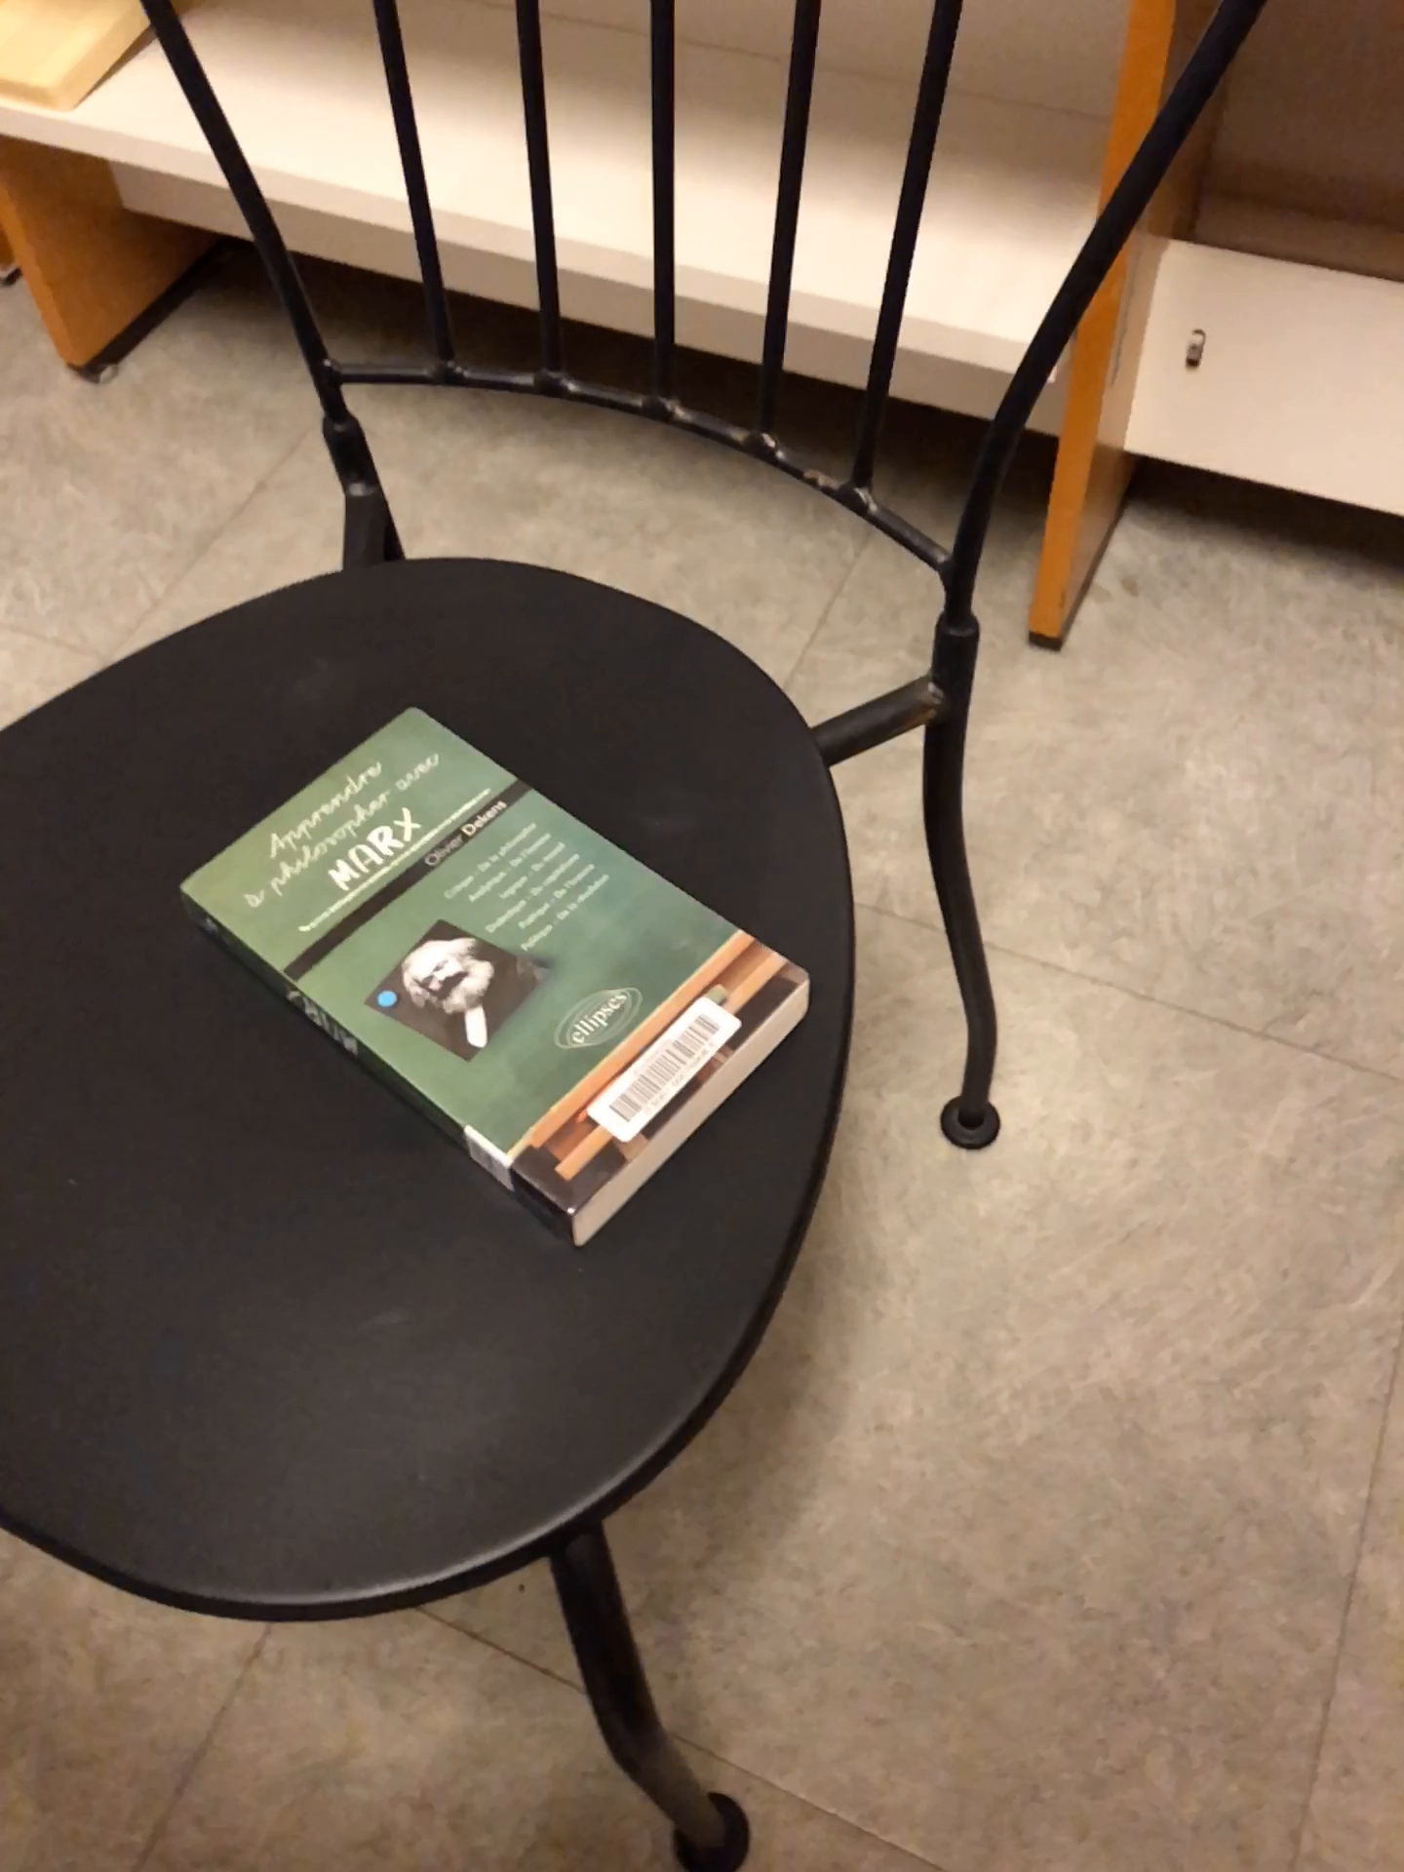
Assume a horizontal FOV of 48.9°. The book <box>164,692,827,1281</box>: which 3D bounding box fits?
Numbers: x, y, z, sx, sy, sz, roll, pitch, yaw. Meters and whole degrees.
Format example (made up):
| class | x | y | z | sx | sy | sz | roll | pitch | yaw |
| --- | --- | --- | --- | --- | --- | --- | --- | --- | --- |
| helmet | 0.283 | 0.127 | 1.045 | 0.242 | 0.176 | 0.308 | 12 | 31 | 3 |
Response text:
| class | x | y | z | sx | sy | sz | roll | pitch | yaw |
| --- | --- | --- | --- | --- | --- | --- | --- | --- | --- |
| book | -0.065 | 0.006 | 0.476 | 0.177 | 0.024 | 0.110 | 36 | 65 | 24 |
